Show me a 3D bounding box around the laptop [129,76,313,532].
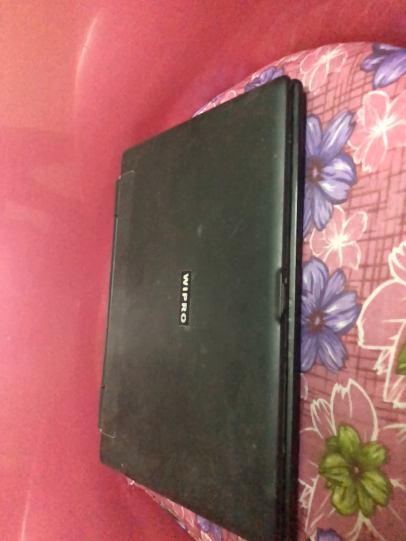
[{"bbox_3d":[0.003,0.021,0.402,0.221,0.006,0.322,-5,80,50],"label":"laptop"}]
